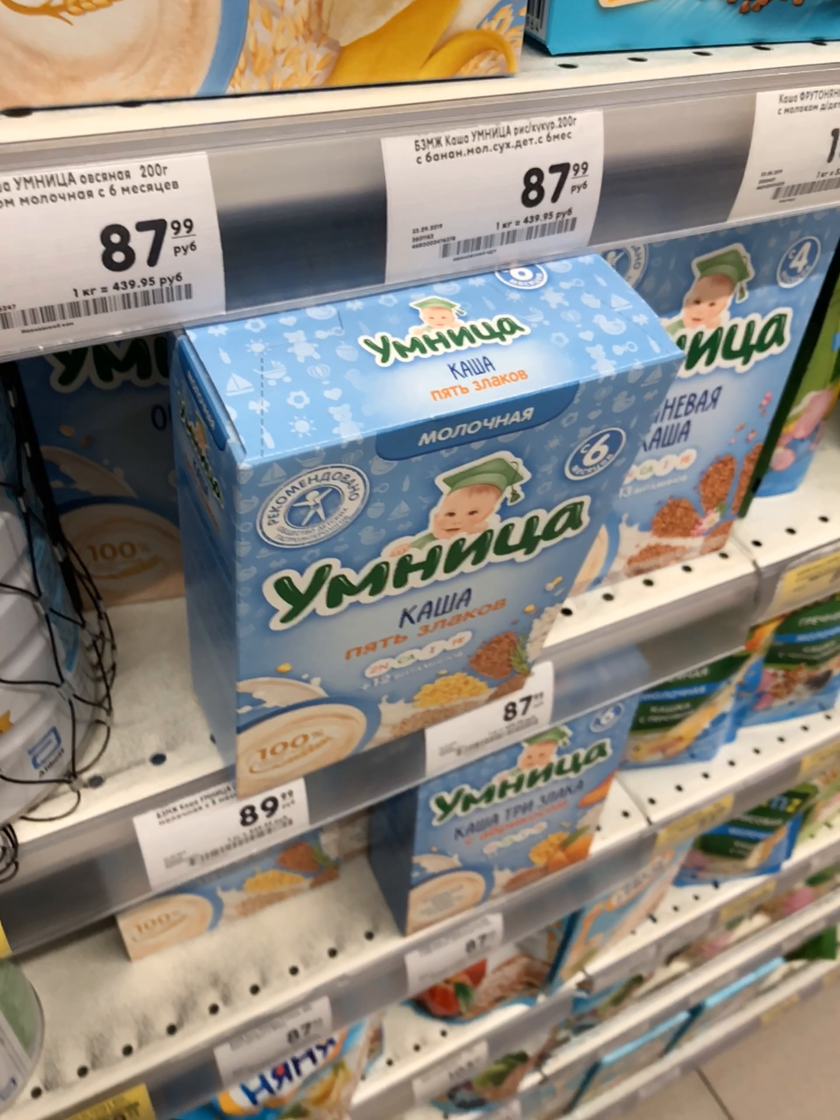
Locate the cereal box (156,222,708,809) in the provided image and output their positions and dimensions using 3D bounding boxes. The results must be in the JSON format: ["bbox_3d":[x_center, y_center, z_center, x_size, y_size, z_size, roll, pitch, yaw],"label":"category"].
[{"bbox_3d":[-0.009,-0.003,0.337,0.140,0.209,0.060,-17,59,-22],"label":"cereal box"}]
